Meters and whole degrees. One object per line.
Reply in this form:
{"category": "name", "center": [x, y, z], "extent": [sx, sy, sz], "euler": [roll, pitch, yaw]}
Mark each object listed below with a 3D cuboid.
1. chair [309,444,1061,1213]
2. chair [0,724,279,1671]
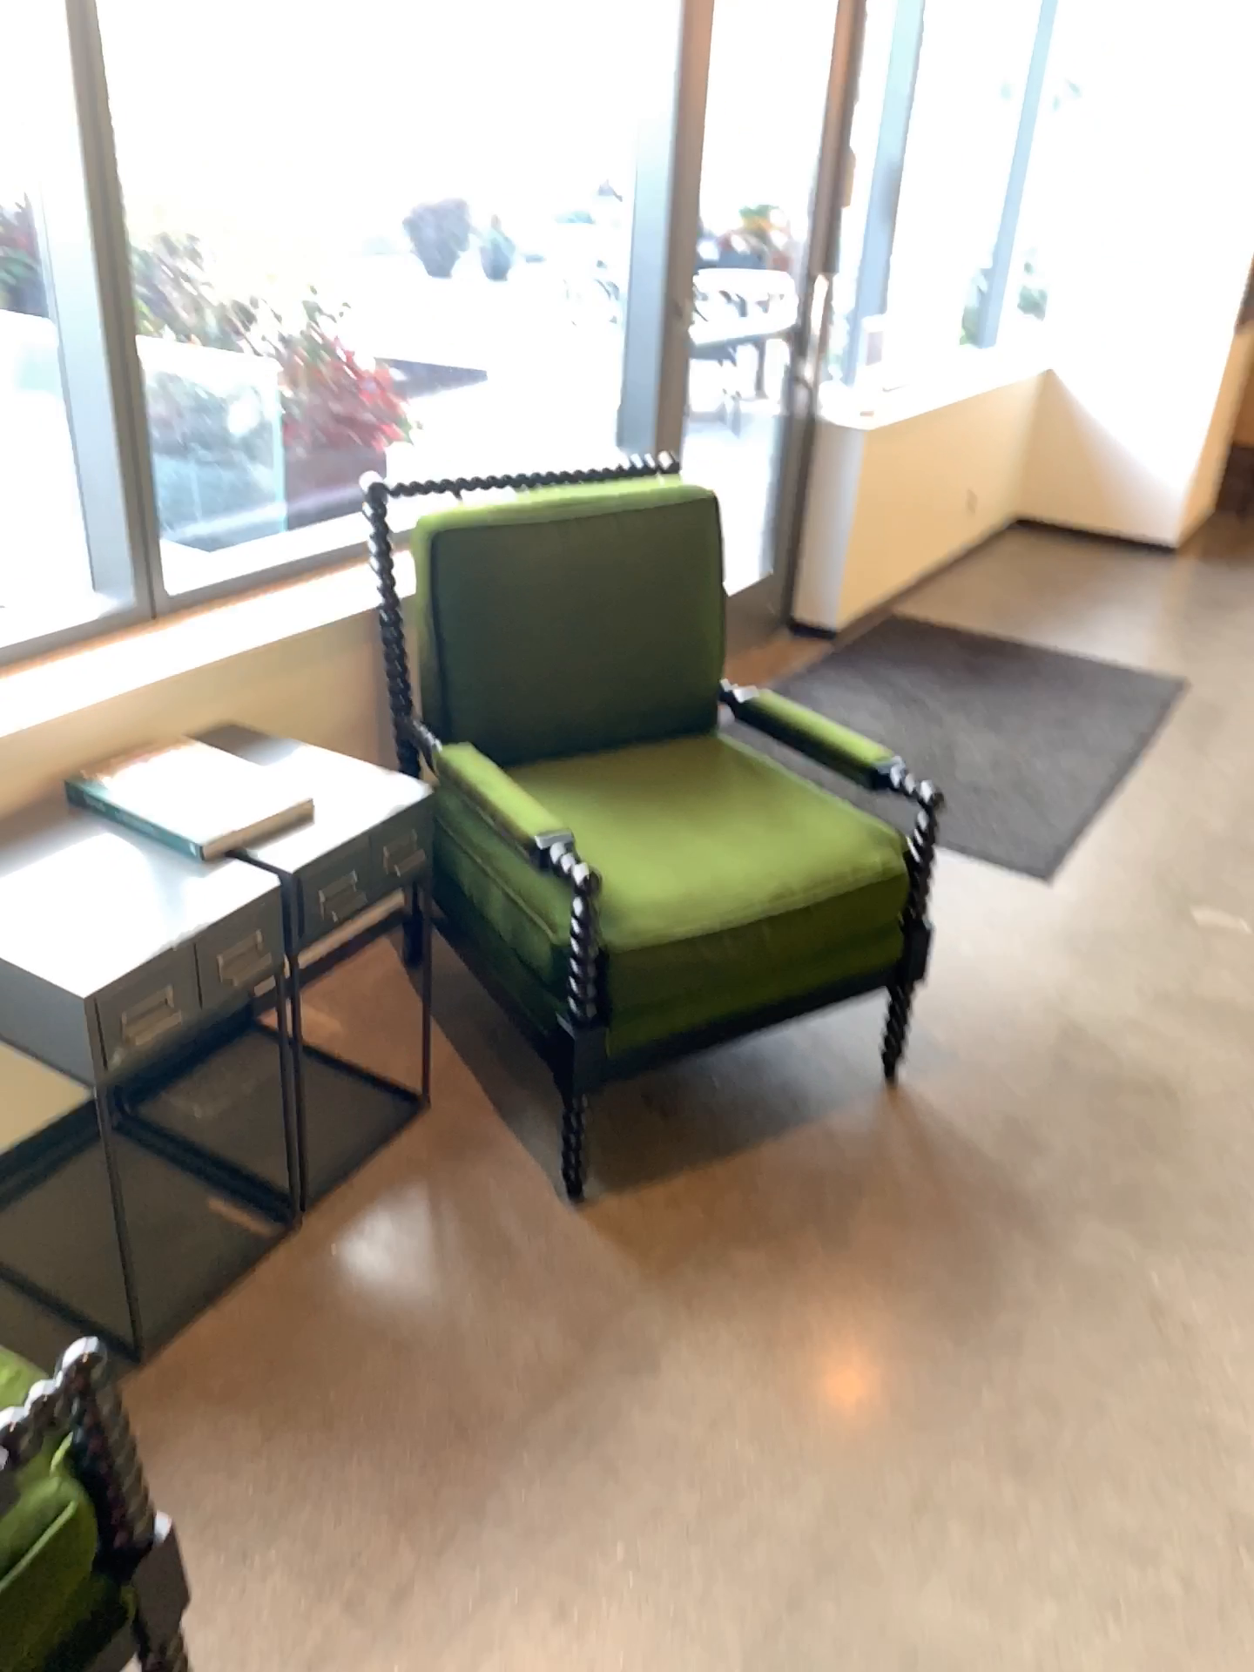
{"category": "chair", "center": [0.026, -0.116, 2.330], "extent": [0.871, 0.925, 0.945], "euler": [-13, 32, -28]}
{"category": "chair", "center": [-0.907, 0.595, 0.895], "extent": [0.841, 0.925, 0.914], "euler": [15, 30, 20]}
